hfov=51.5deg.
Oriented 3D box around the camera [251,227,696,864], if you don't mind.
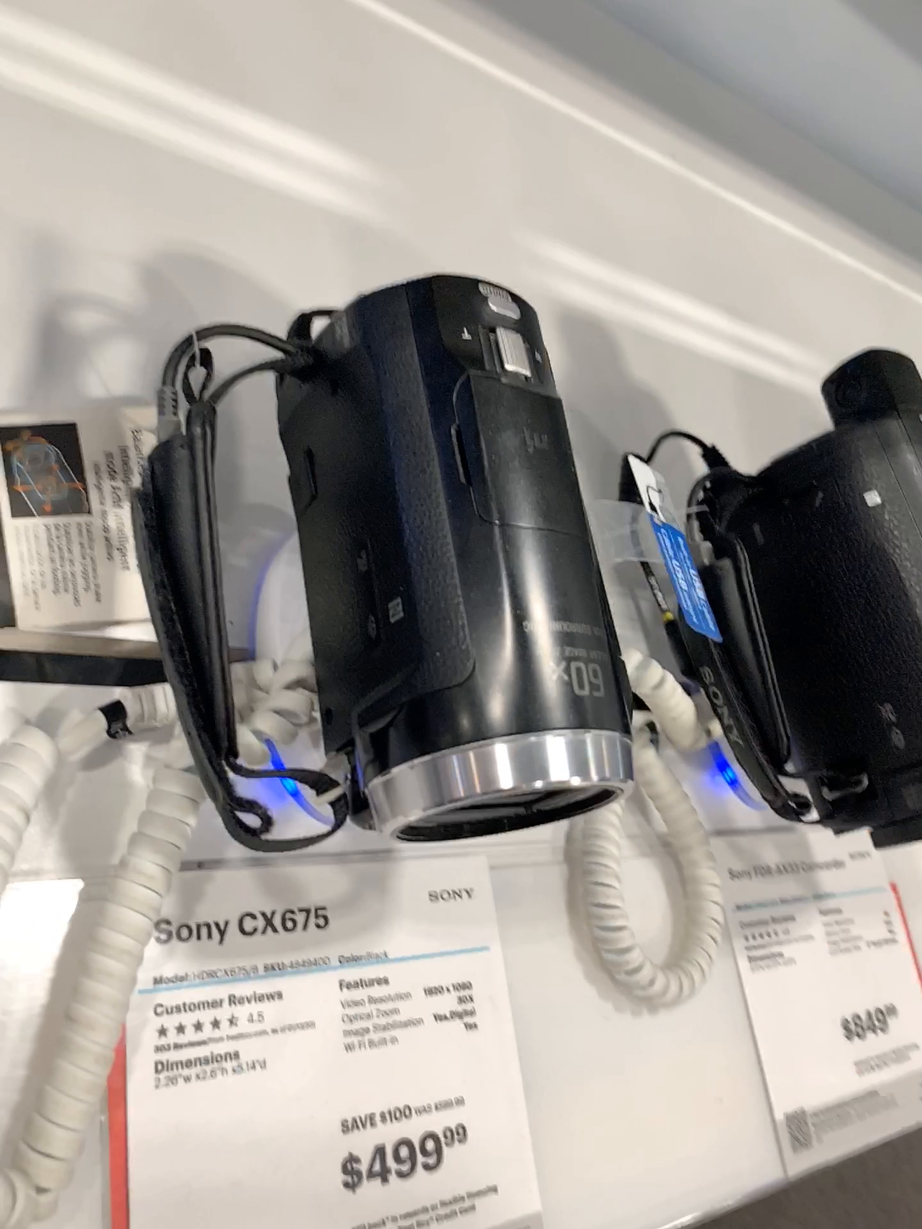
[{"bbox_3d":[-0.003,-0.011,0.206,0.054,0.060,0.112,6,64,-37],"label":"camera"}]
